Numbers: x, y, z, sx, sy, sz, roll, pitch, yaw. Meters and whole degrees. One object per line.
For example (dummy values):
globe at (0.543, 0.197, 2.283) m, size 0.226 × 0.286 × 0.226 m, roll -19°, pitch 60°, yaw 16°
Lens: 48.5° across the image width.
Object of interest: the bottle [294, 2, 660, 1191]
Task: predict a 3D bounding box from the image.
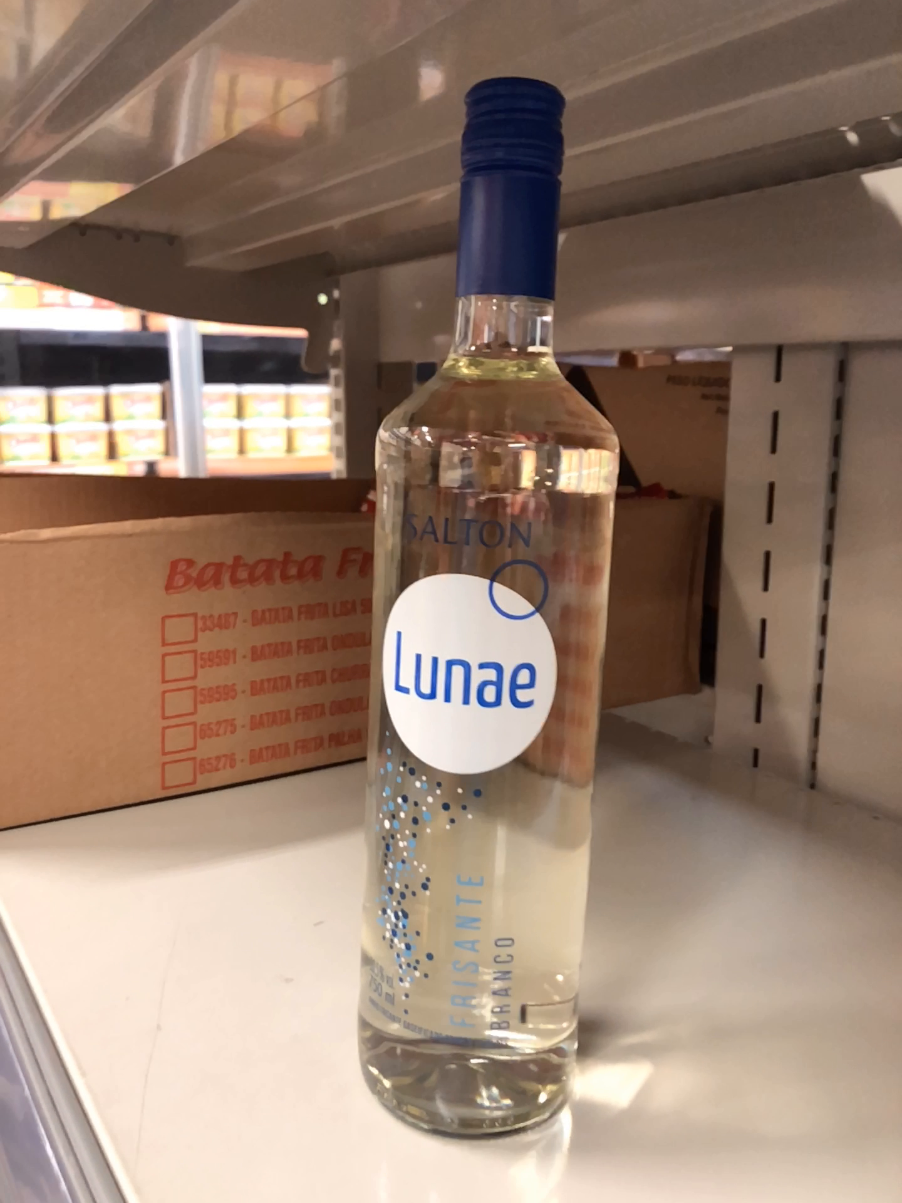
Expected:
bottle at (0.014, 0.006, 0.305) m, size 0.080 × 0.309 × 0.080 m, roll -1°, pitch 11°, yaw 0°
